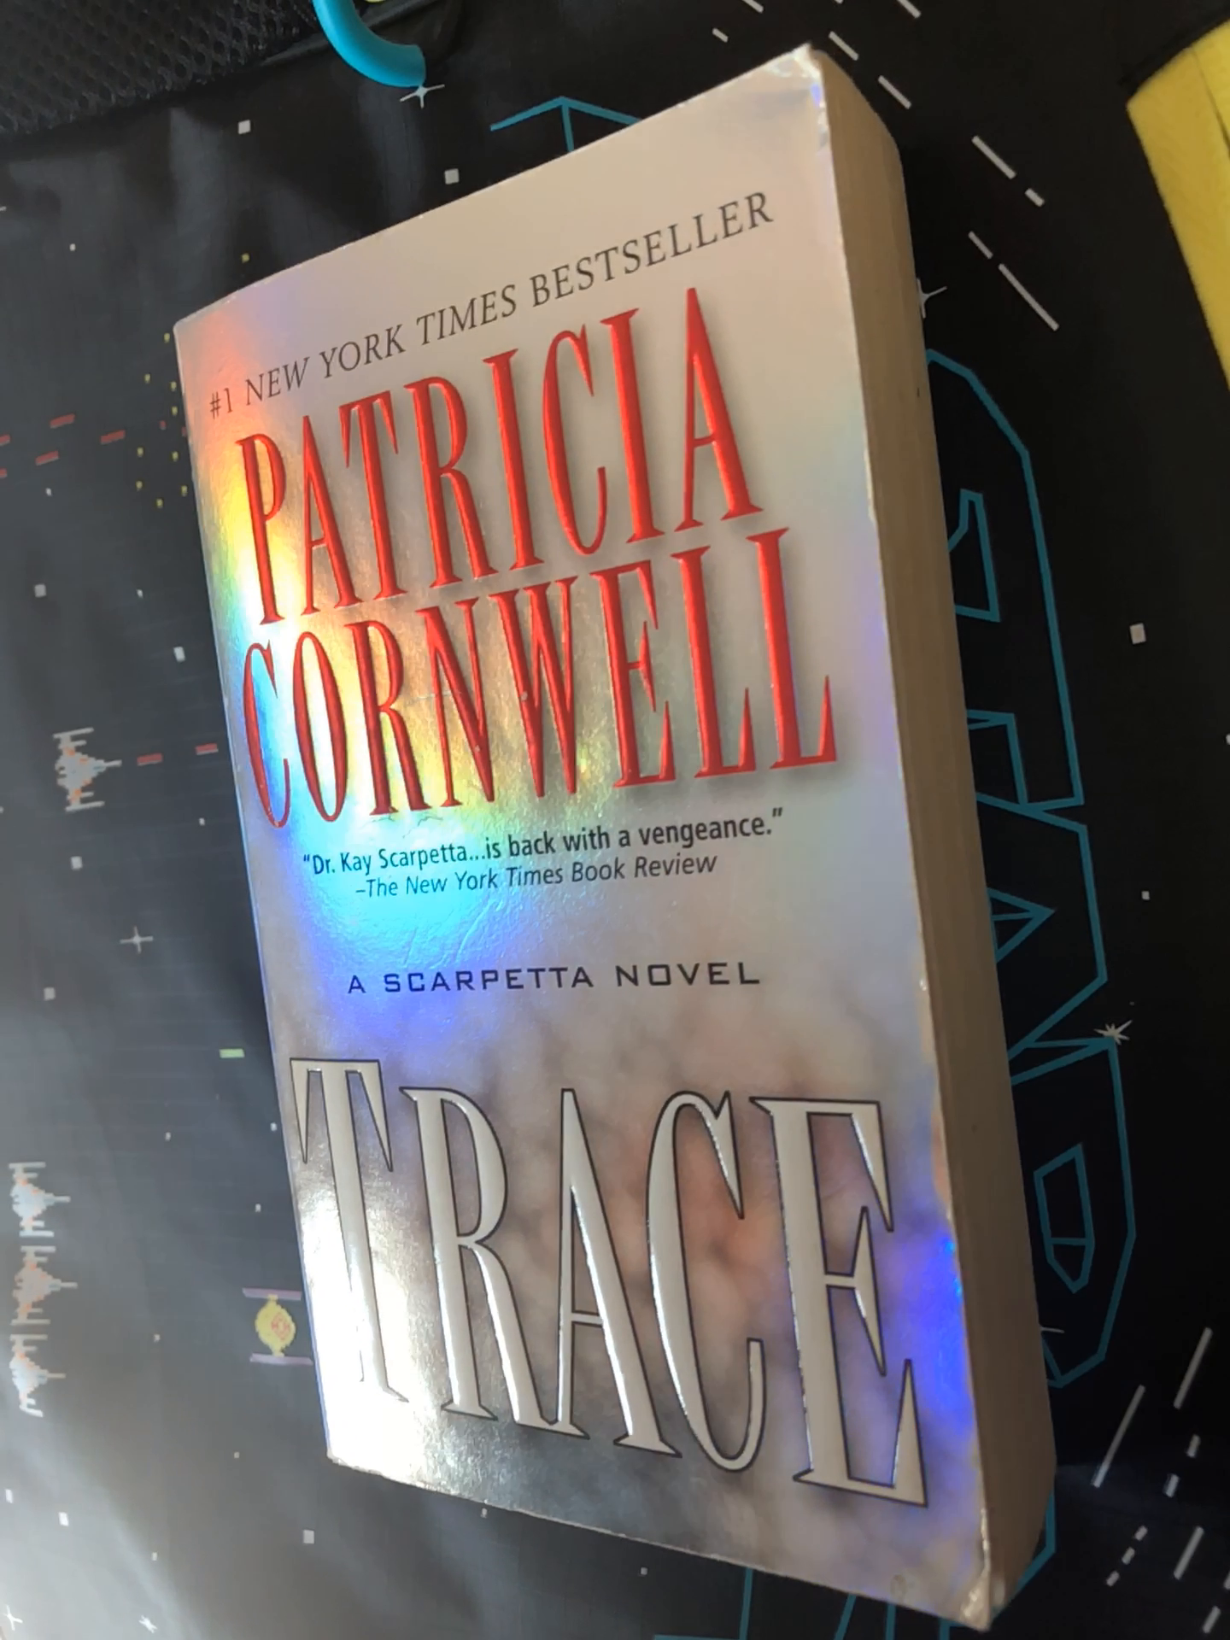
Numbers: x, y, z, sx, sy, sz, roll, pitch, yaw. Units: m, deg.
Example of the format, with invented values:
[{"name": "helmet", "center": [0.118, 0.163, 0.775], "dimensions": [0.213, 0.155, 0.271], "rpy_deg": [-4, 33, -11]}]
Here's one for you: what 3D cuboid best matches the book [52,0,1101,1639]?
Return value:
[{"name": "book", "center": [-0.012, 0.005, 0.182], "dimensions": [0.121, 0.040, 0.170], "rpy_deg": [-6, 92, 36]}]
